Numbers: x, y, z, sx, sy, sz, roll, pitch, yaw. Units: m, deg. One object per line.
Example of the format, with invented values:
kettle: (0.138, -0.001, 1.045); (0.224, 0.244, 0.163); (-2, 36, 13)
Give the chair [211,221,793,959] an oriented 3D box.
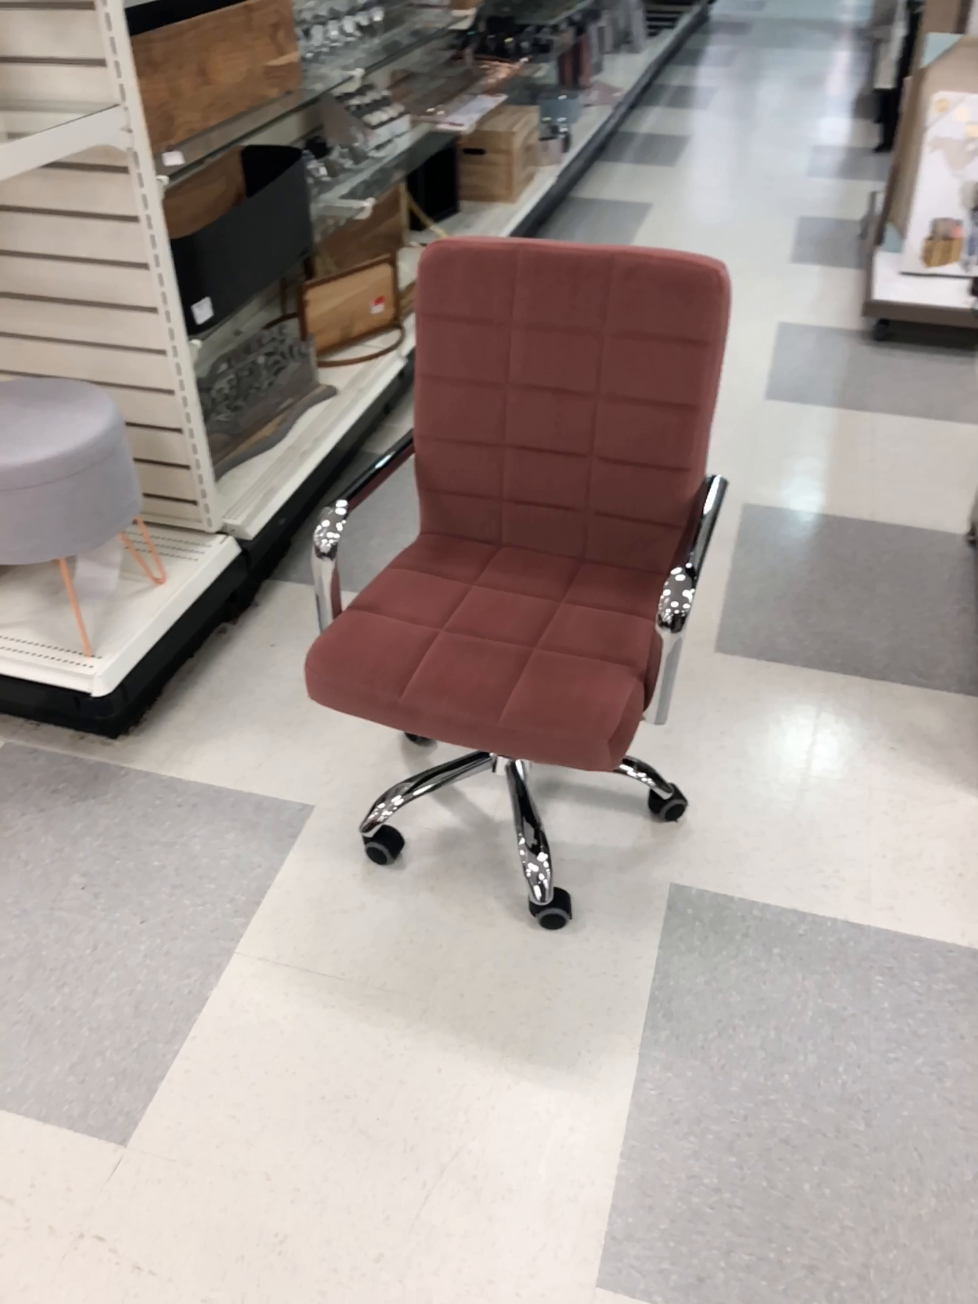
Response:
chair: (0.056, -0.103, 1.578); (0.574, 0.819, 0.565); (11, 39, 15)
